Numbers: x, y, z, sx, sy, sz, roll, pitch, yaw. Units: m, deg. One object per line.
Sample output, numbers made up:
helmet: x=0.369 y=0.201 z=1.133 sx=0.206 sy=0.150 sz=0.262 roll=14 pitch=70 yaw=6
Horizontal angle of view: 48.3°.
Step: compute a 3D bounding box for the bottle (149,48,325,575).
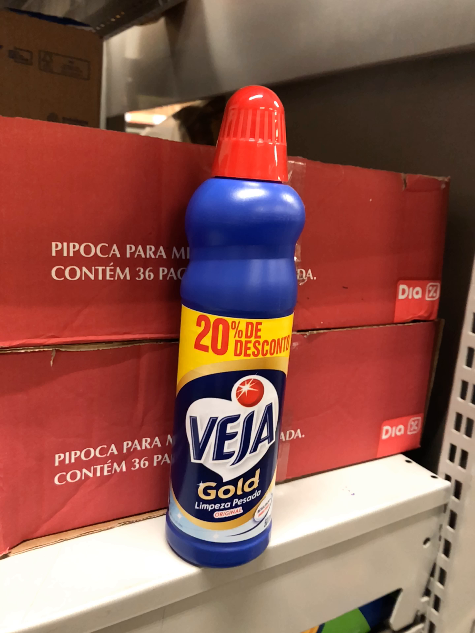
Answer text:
bottle: x=-0.010 y=0.003 z=0.284 sx=0.070 sy=0.249 sz=0.070 roll=3 pitch=14 yaw=-1
